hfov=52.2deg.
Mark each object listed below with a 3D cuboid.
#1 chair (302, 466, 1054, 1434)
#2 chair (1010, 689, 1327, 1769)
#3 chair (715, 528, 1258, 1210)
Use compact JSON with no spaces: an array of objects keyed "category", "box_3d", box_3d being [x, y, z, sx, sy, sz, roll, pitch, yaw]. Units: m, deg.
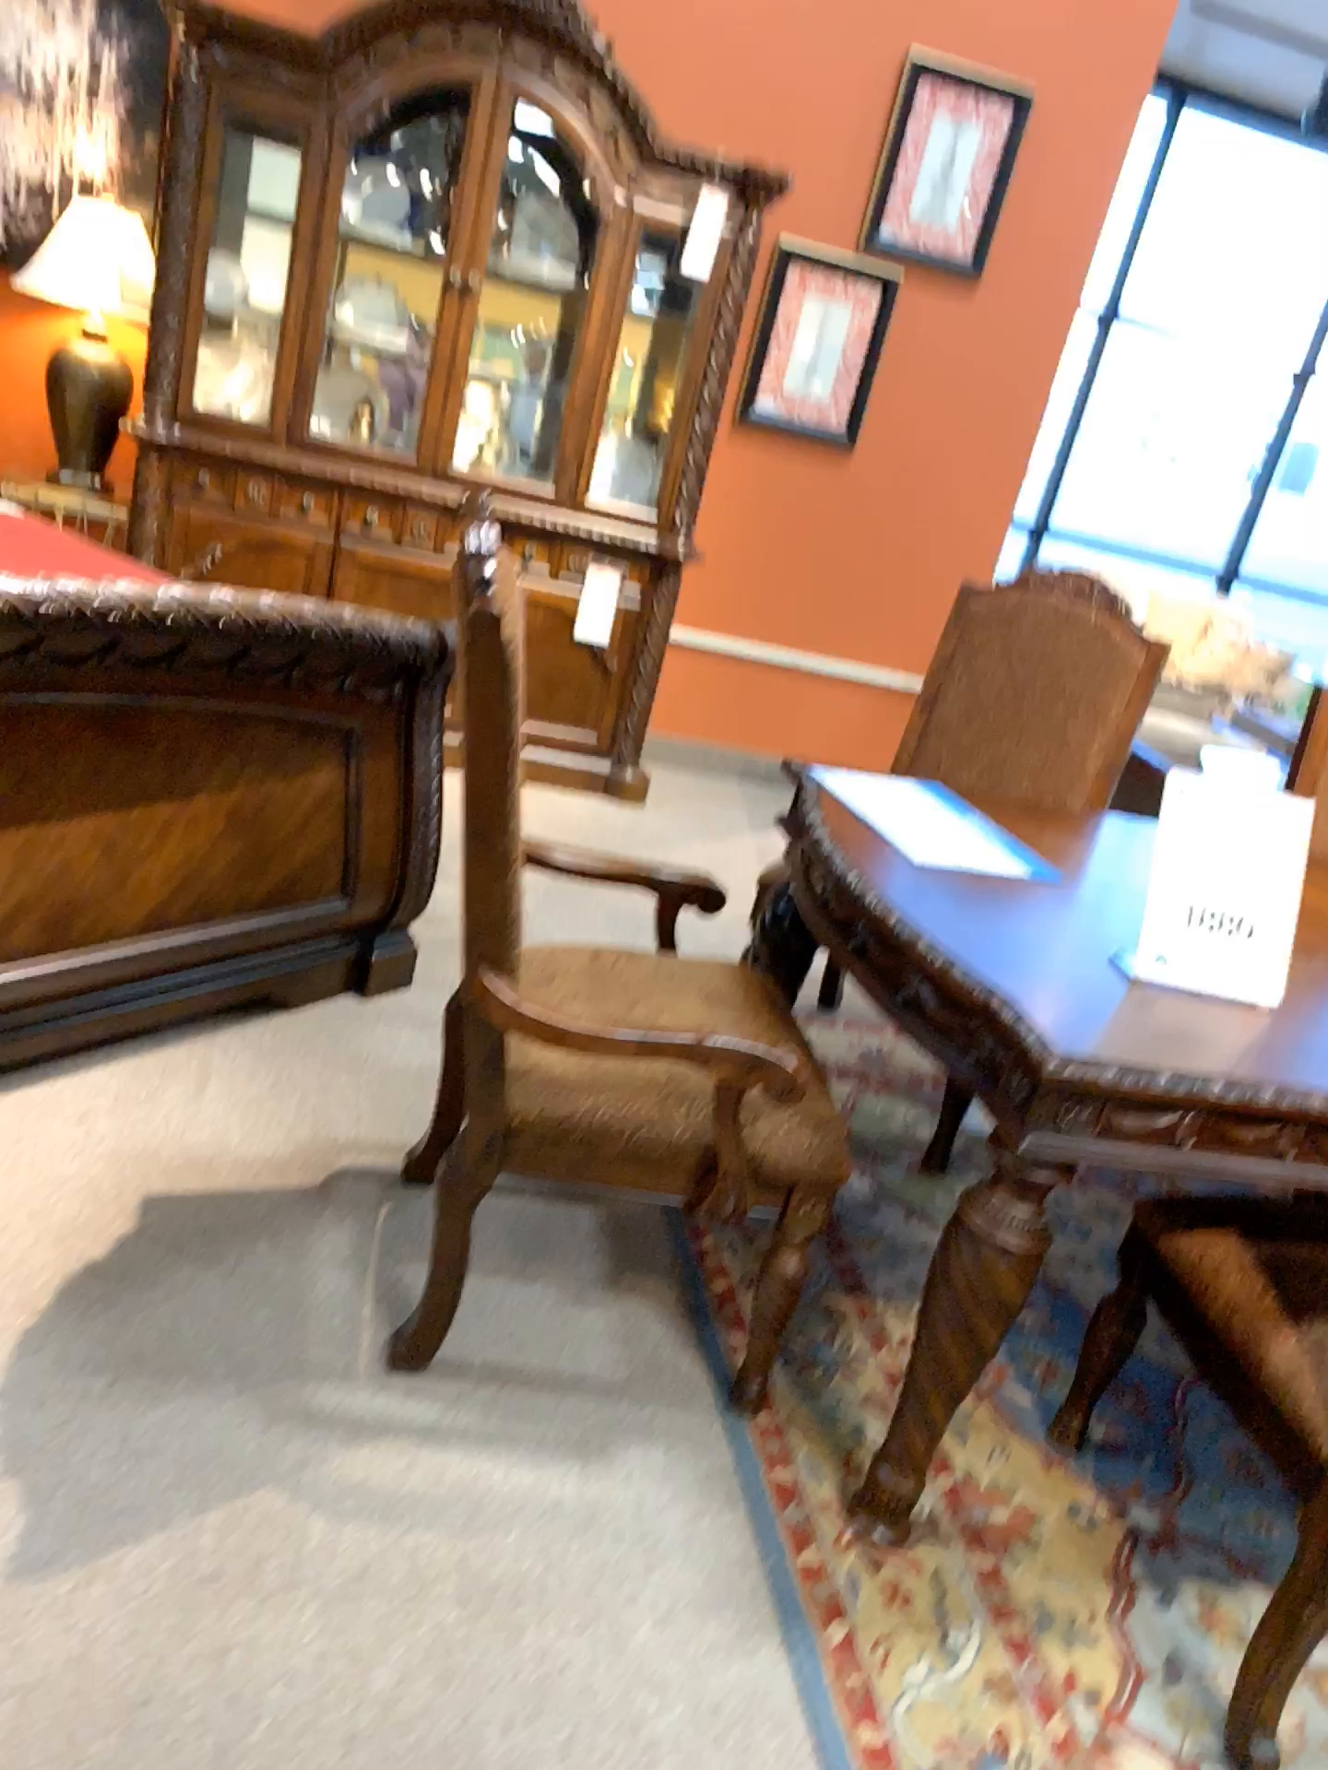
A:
[{"category":"chair","box_3d":[-0.055,0.088,1.905,0.669,1.124,0.586,10,20,-12]},{"category":"chair","box_3d":[0.953,0.449,1.587,0.563,1.134,0.622,10,20,-11]},{"category":"chair","box_3d":[0.673,-0.075,2.879,0.604,1.184,0.671,25,22,27]}]
